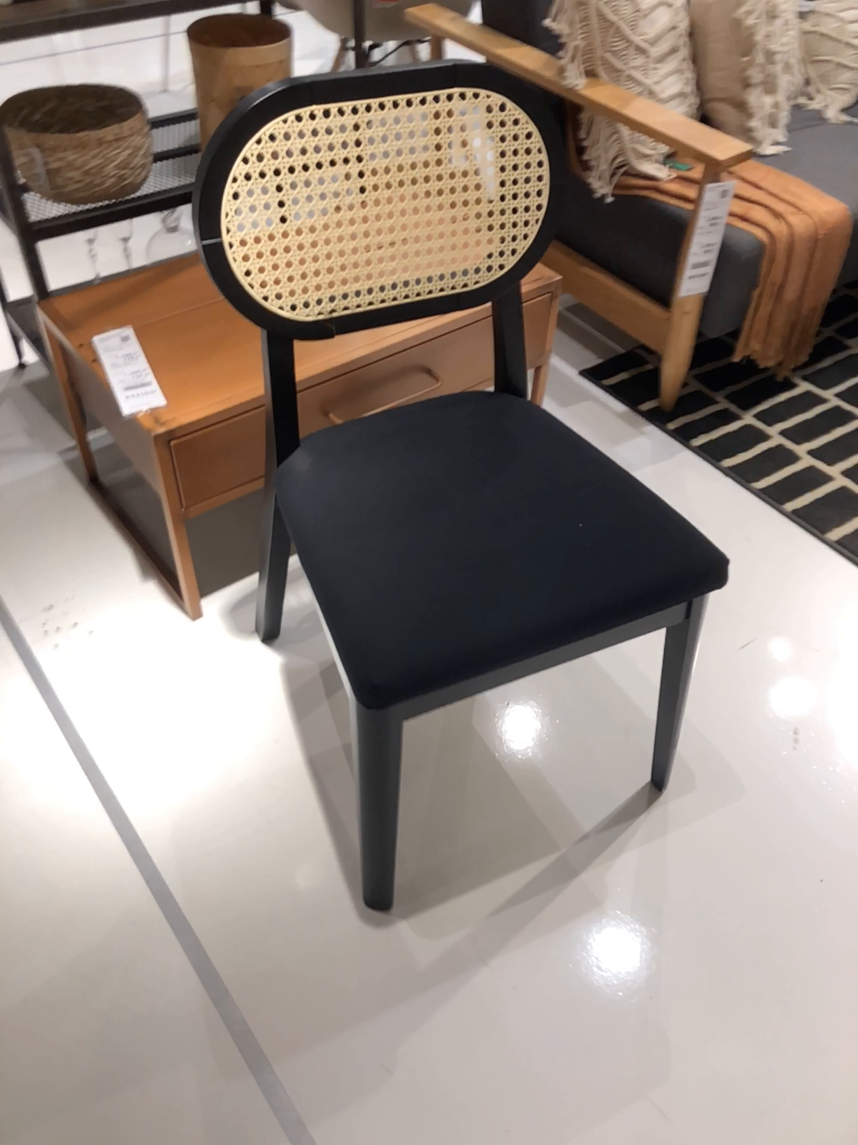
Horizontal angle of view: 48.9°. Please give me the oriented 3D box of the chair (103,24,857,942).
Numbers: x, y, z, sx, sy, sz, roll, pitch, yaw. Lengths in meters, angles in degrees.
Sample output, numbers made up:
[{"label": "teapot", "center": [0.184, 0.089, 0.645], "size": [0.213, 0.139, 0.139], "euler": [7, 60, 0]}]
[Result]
[{"label": "chair", "center": [0.023, -0.091, 1.106], "size": [0.501, 0.804, 0.543], "euler": [-19, 49, -20]}]
